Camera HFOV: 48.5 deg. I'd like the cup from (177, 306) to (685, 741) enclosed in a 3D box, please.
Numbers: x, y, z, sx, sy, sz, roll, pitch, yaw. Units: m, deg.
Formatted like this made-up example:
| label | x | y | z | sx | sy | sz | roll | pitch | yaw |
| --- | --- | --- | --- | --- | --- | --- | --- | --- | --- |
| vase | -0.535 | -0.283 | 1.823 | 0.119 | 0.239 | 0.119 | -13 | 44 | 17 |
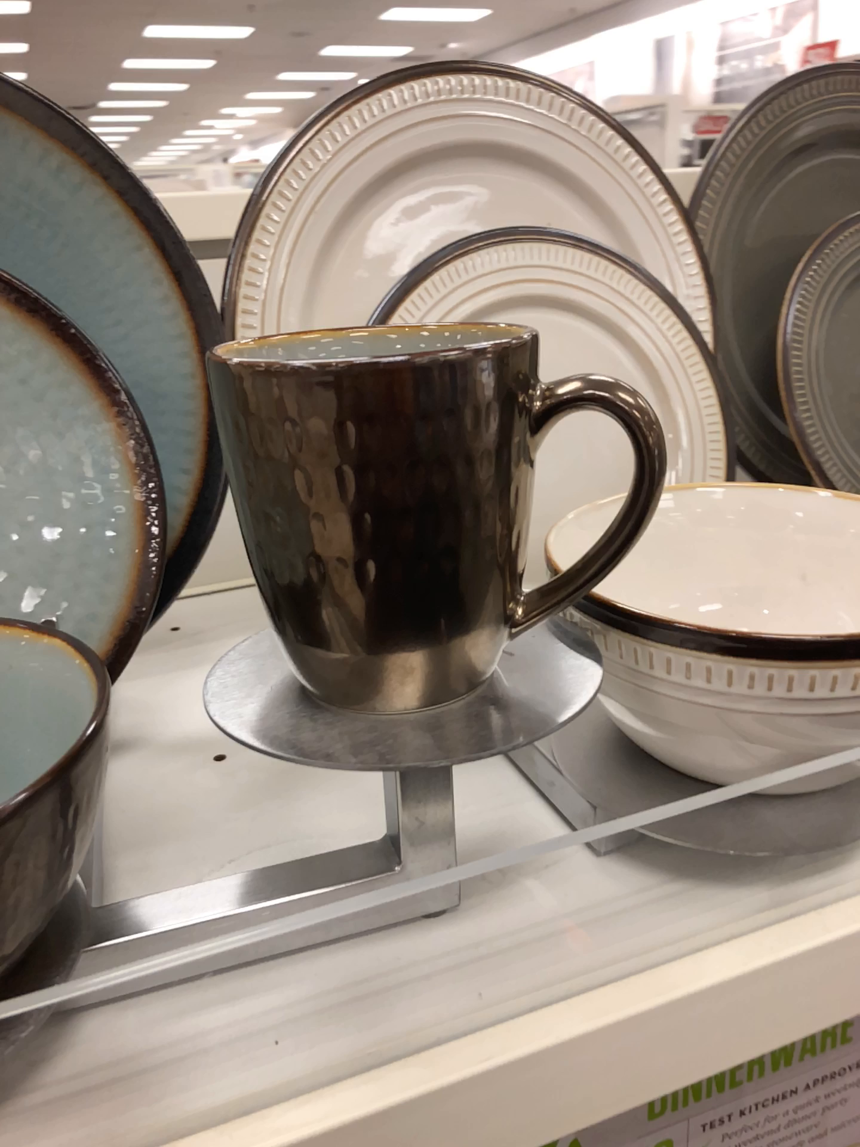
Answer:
| label | x | y | z | sx | sy | sz | roll | pitch | yaw |
| --- | --- | --- | --- | --- | --- | --- | --- | --- | --- |
| cup | 0.006 | -0.018 | 0.273 | 0.117 | 0.100 | 0.084 | 0 | 21 | 7 |
